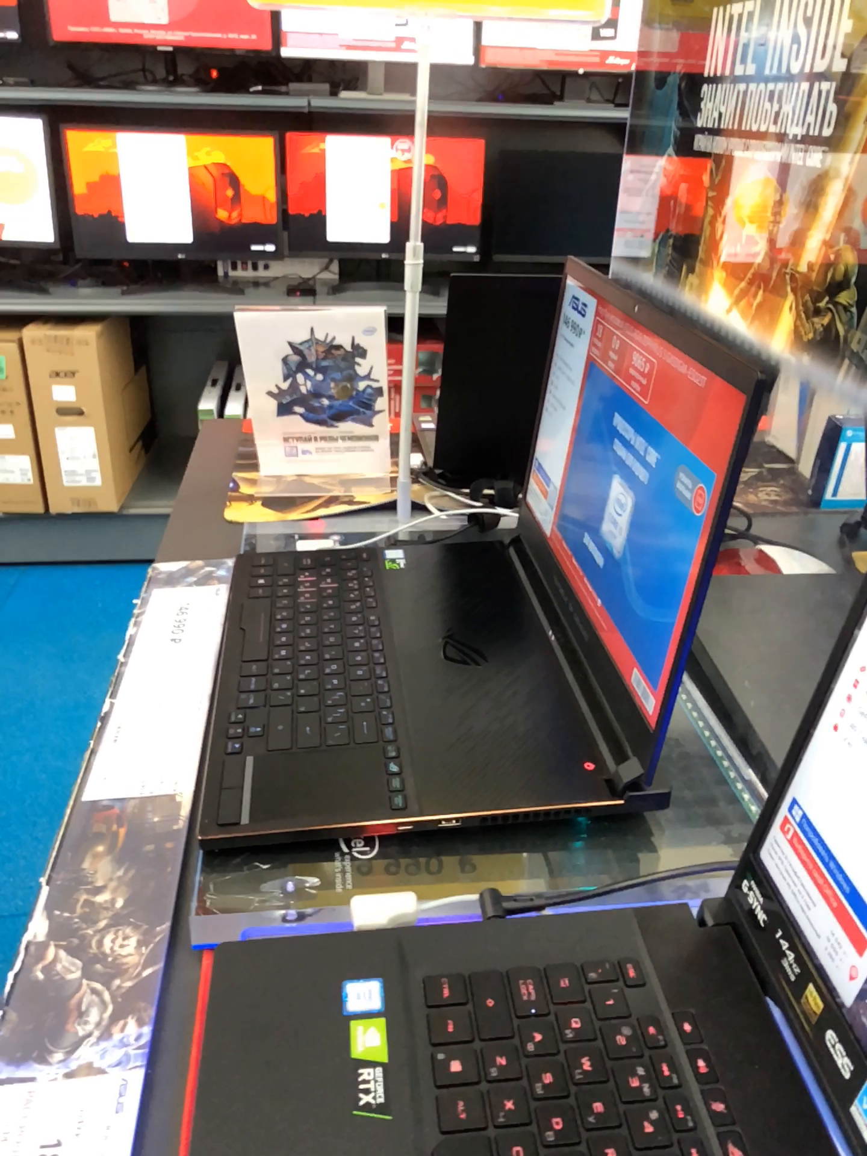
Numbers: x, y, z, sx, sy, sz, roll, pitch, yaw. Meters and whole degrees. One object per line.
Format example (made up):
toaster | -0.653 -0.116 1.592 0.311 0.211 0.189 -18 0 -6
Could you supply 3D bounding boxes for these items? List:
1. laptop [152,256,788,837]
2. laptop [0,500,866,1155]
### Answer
laptop | -0.003 -0.056 0.622 0.278 0.241 0.351 -2 27 -6
laptop | 0.065 0.146 0.249 0.301 0.219 0.343 -1 26 -3
